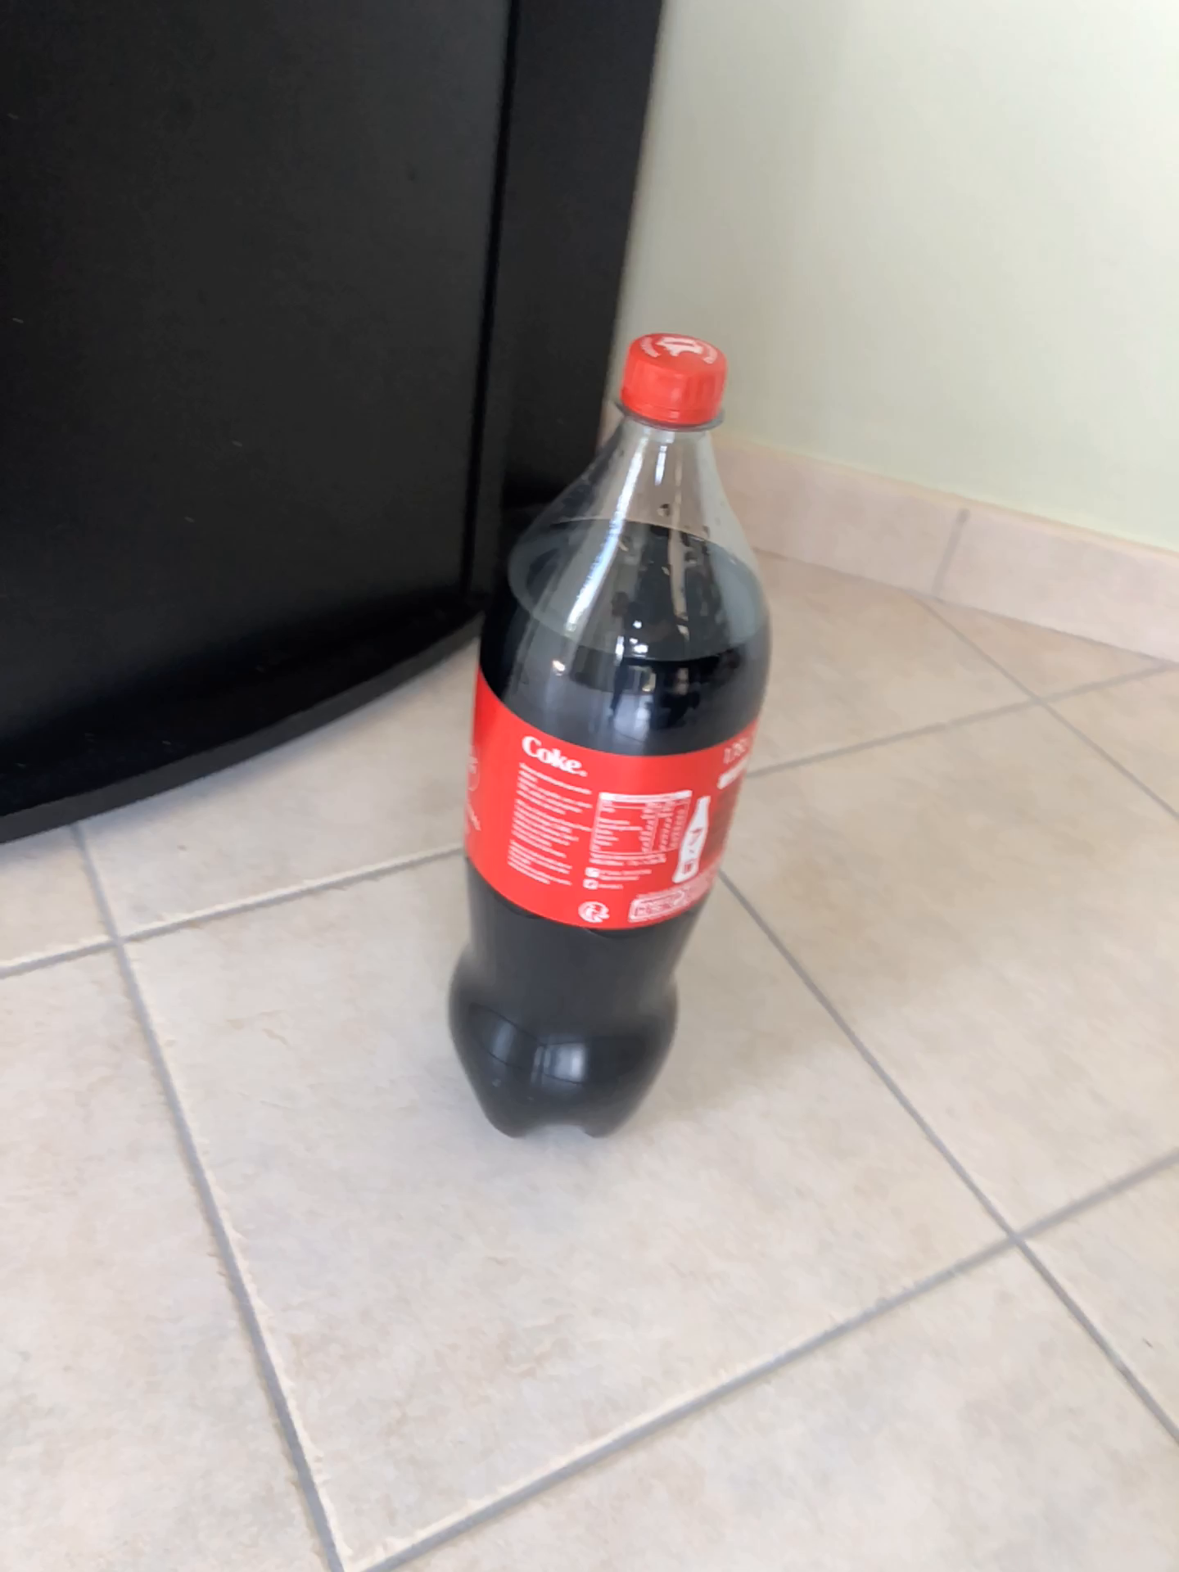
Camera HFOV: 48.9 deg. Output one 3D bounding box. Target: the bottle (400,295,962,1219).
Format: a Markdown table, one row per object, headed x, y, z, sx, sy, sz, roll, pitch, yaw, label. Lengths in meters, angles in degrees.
| x | y | z | sx | sy | sz | roll | pitch | yaw | label |
| --- | --- | --- | --- | --- | --- | --- | --- | --- | --- |
| 0.009 | 0.004 | 0.460 | 0.100 | 0.308 | 0.110 | 6 | 40 | -5 | bottle |
